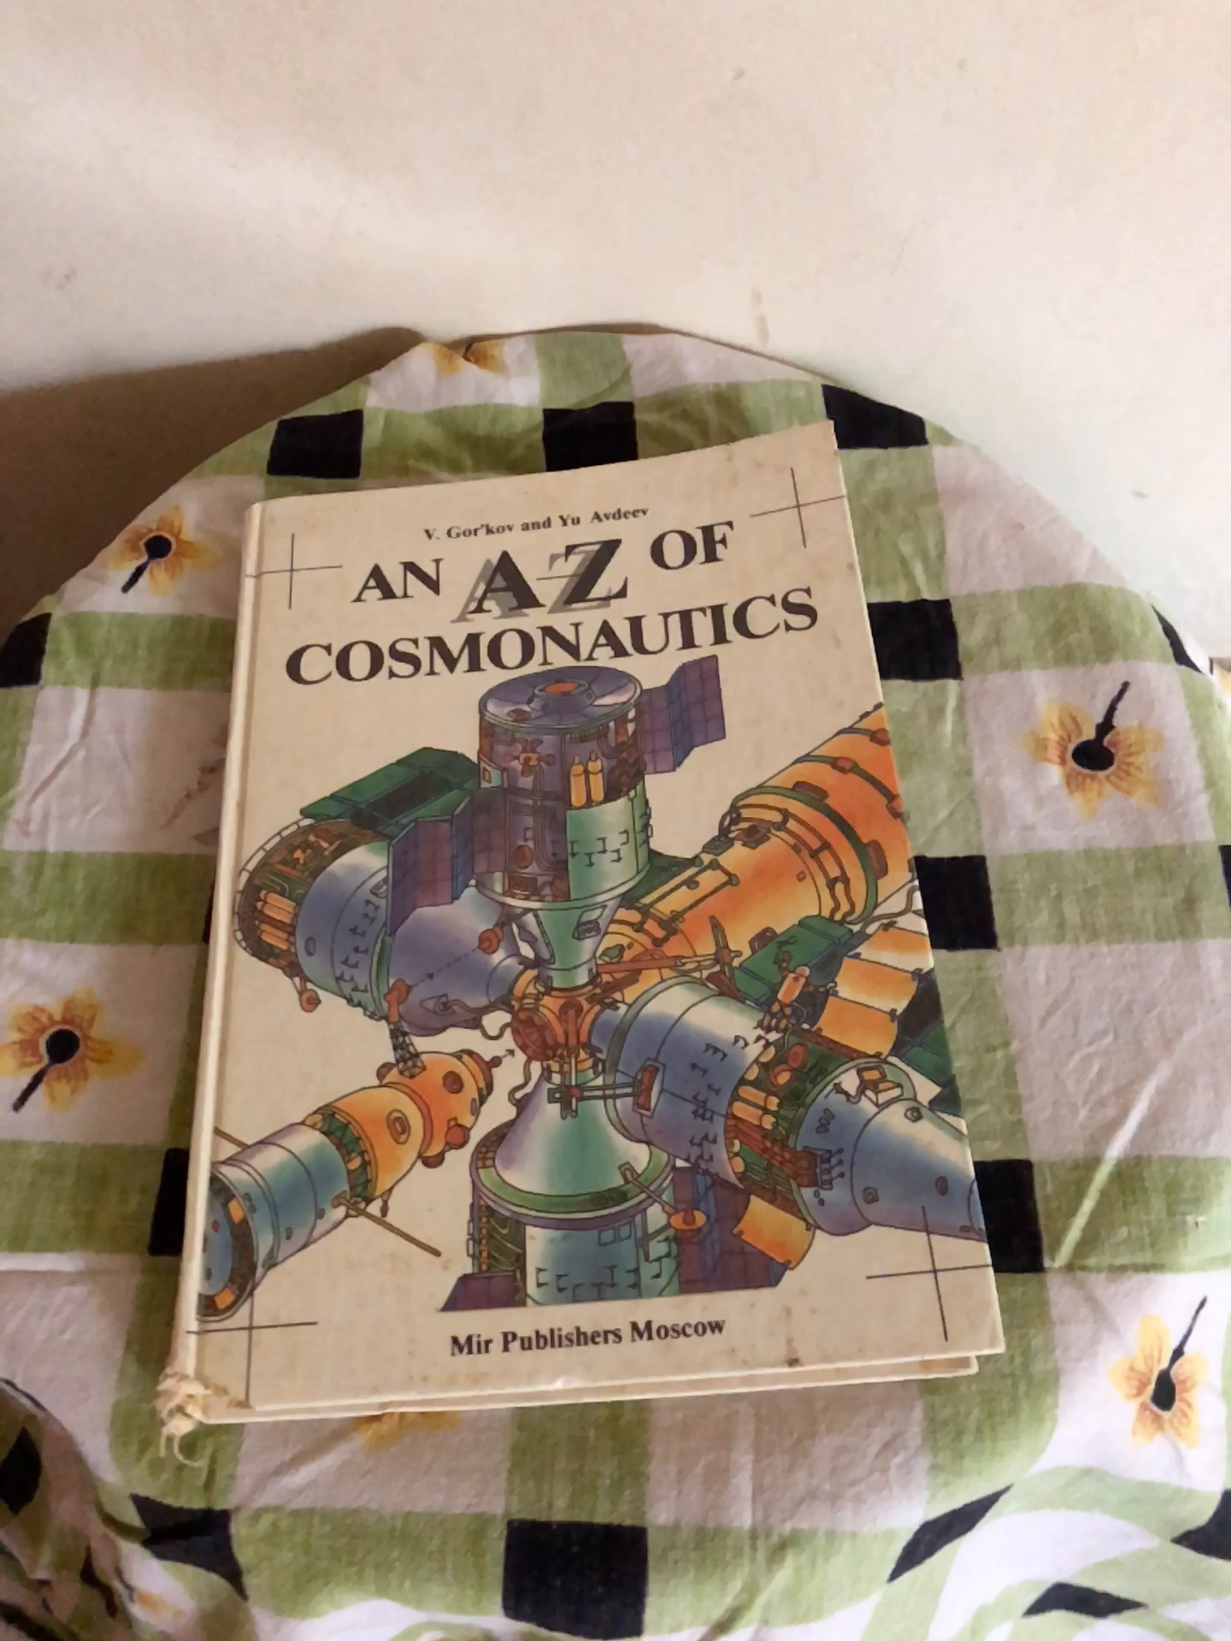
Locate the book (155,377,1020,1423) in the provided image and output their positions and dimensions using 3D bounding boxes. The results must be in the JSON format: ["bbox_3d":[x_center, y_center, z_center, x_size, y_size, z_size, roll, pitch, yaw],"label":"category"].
[{"bbox_3d":[-0.014,0.008,0.373,0.180,0.060,0.271,-5,62,0],"label":"book"}]
